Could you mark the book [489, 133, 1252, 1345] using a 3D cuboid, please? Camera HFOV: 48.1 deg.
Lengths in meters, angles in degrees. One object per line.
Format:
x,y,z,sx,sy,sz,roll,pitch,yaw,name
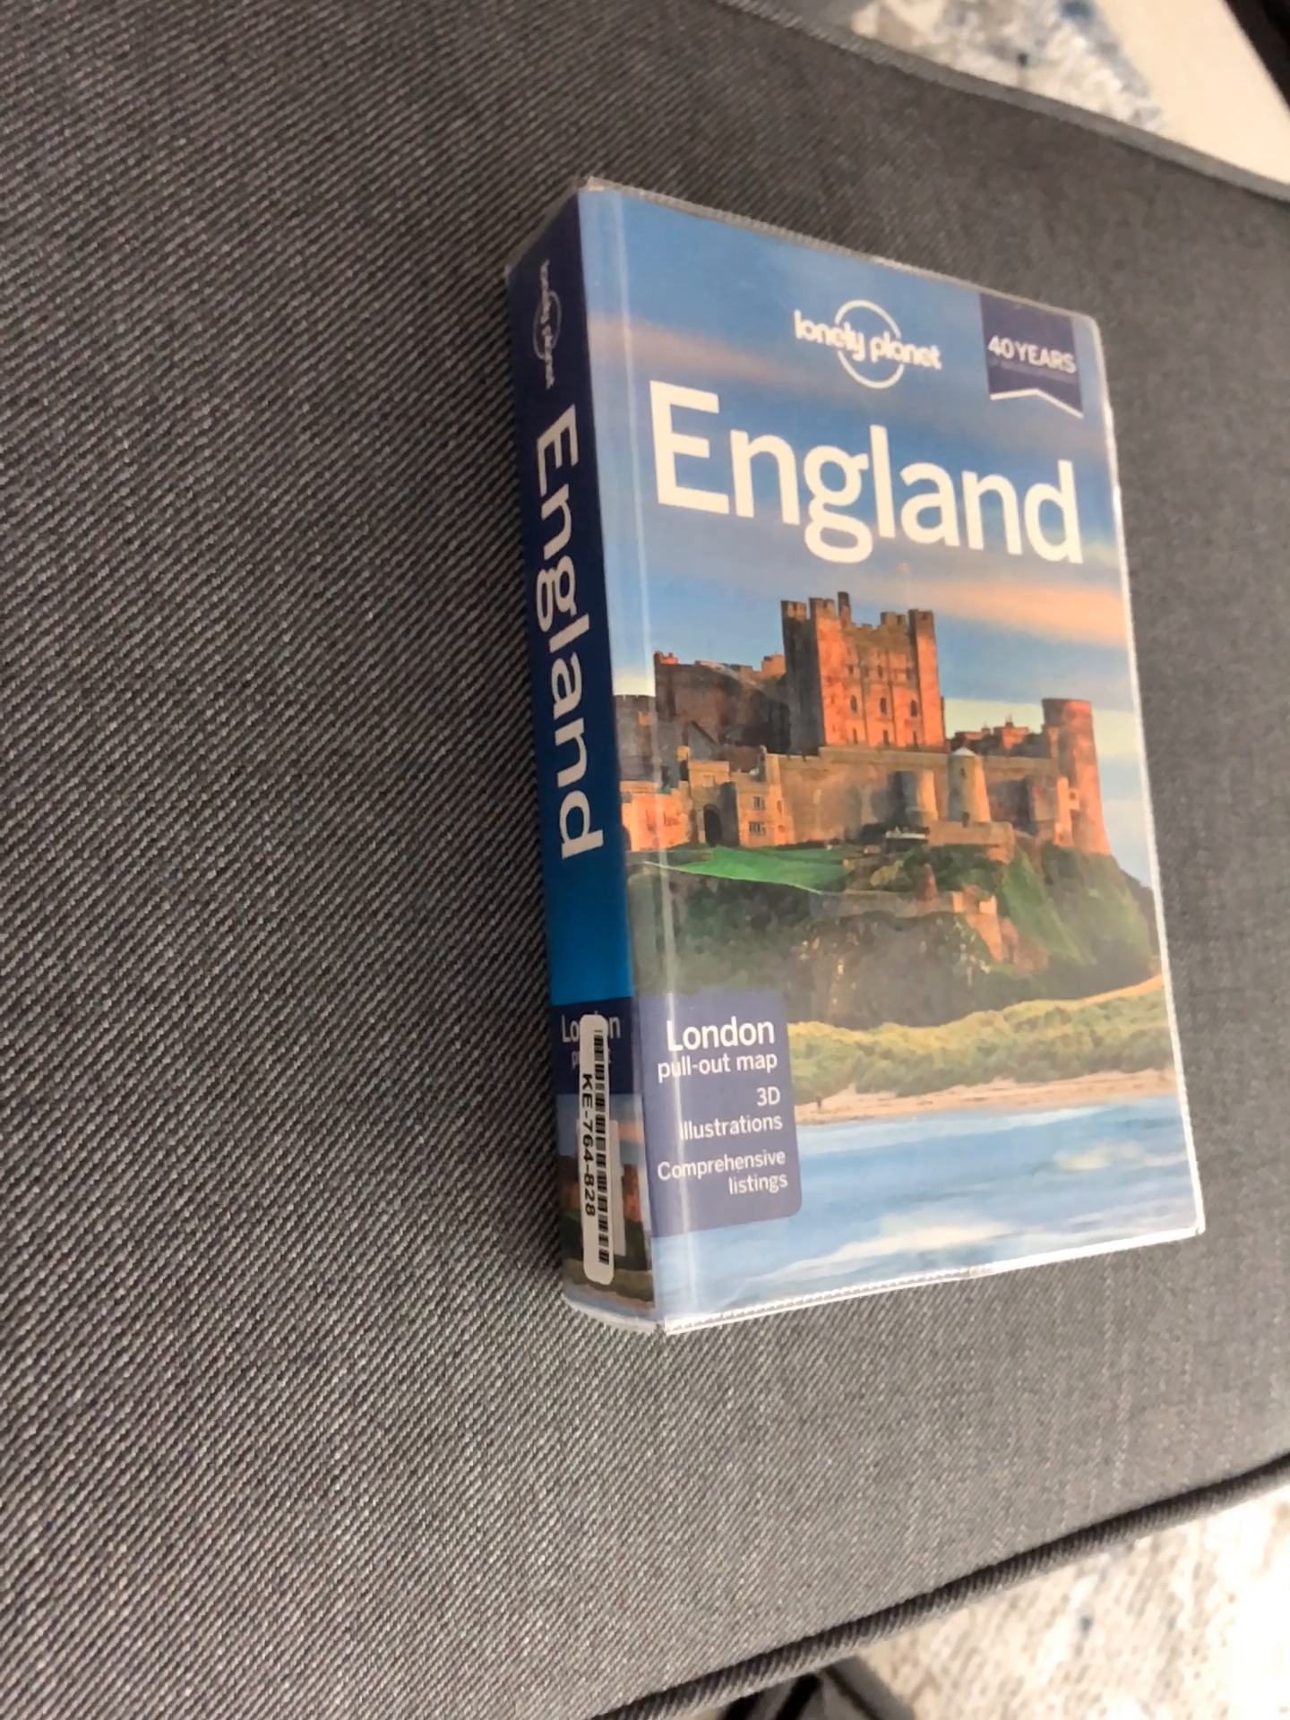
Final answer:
0.044,-0.021,0.282,0.136,0.040,0.200,1,81,-28,book
